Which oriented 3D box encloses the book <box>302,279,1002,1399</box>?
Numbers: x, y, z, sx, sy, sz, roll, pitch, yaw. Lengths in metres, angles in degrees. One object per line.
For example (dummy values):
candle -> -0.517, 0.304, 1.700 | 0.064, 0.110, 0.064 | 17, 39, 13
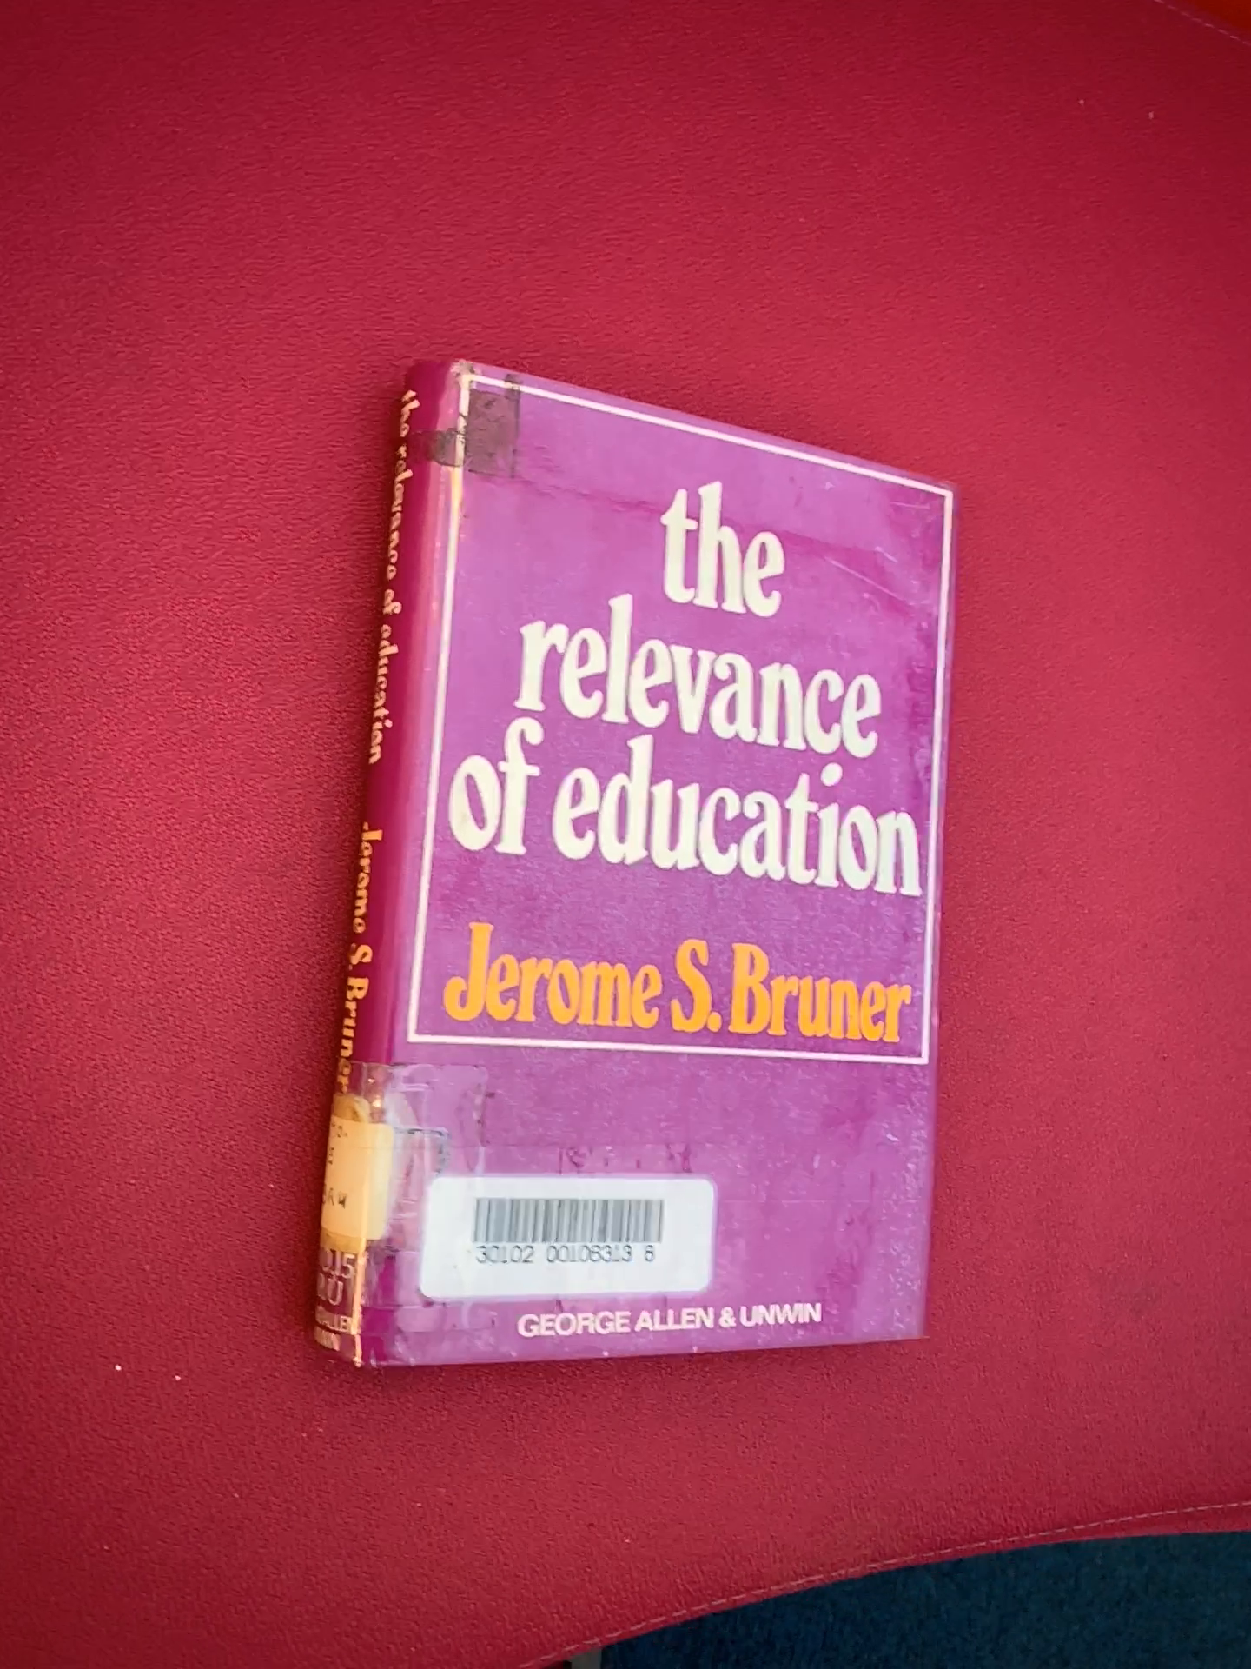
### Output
book -> 0.012, 0.004, 0.310 | 0.150, 0.040, 0.230 | 6, 84, -22
